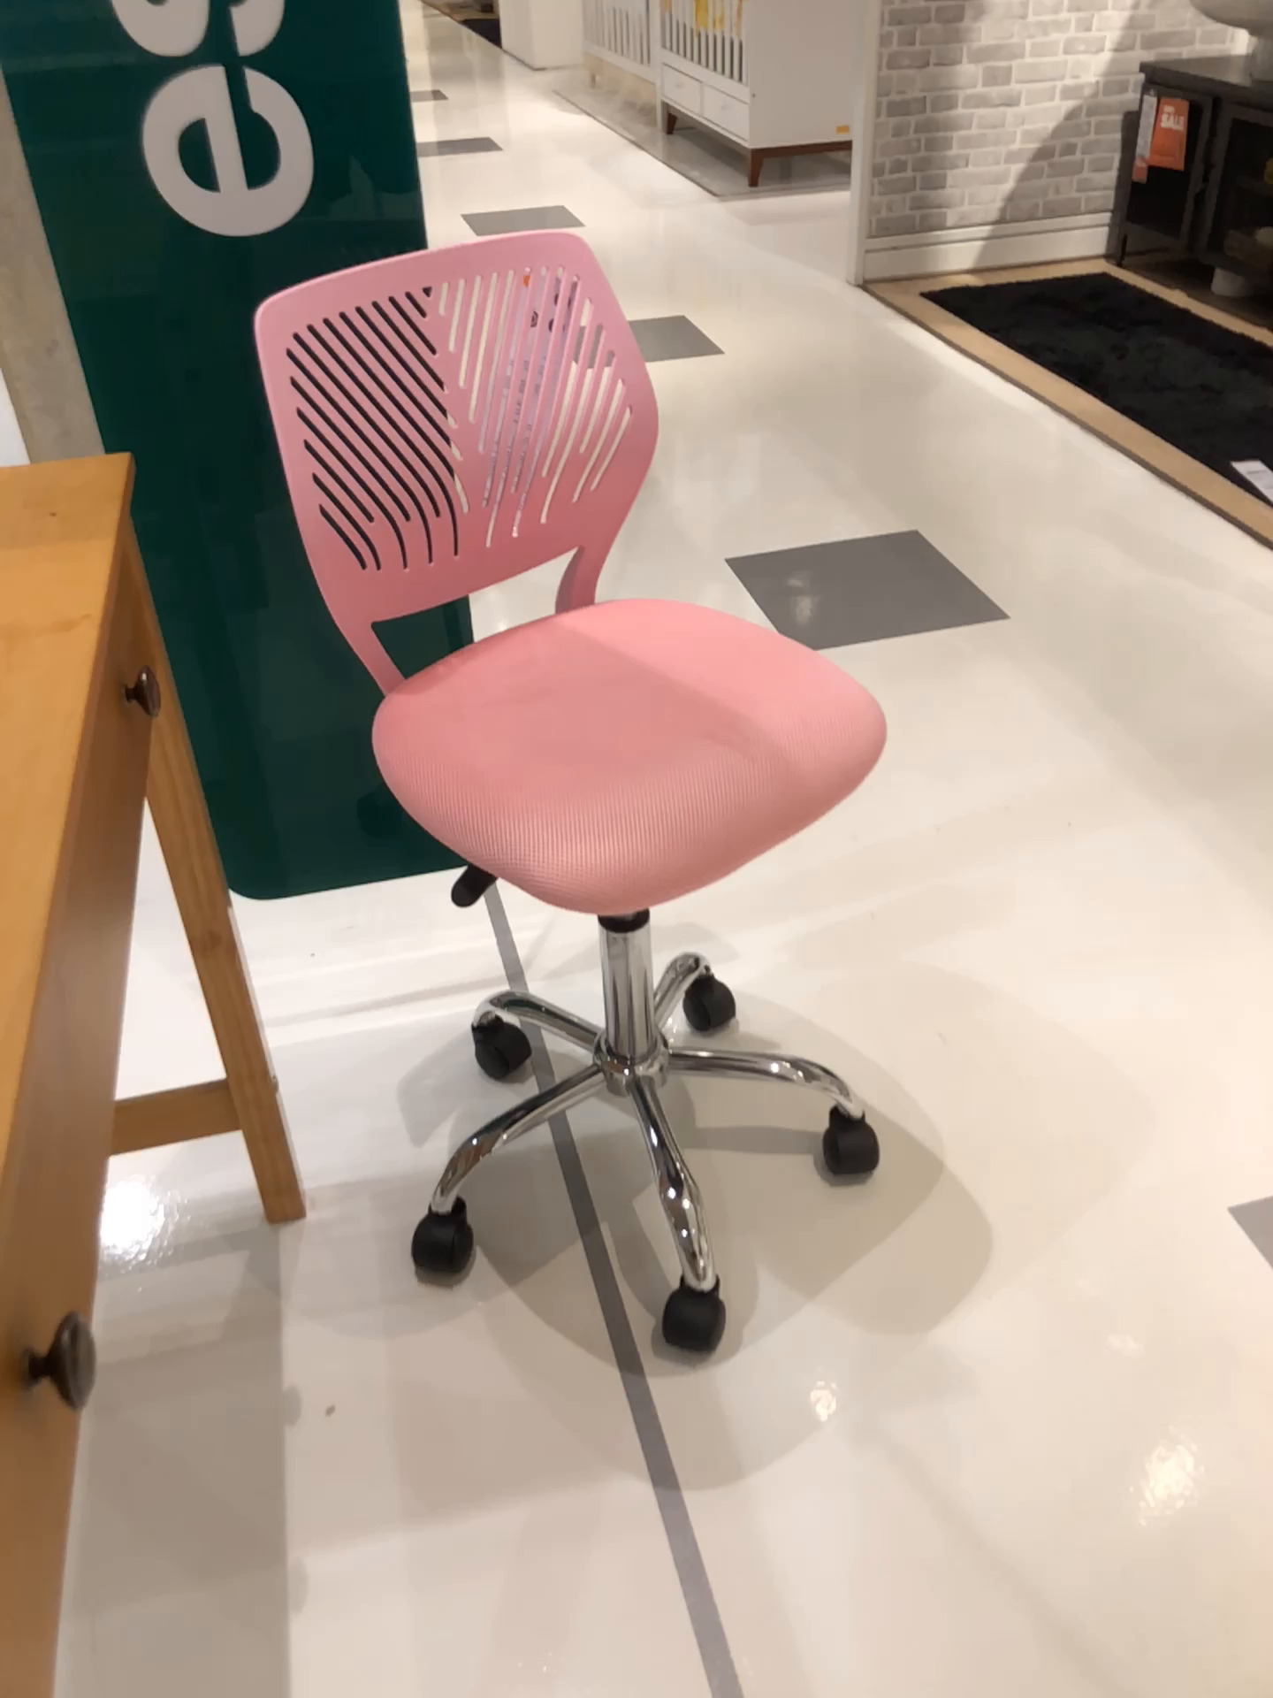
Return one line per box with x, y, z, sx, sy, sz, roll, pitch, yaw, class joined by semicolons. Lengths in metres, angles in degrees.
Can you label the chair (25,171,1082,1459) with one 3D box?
-0.039;-0.056;1.188;0.522;0.833;0.502;26;44;34;chair
